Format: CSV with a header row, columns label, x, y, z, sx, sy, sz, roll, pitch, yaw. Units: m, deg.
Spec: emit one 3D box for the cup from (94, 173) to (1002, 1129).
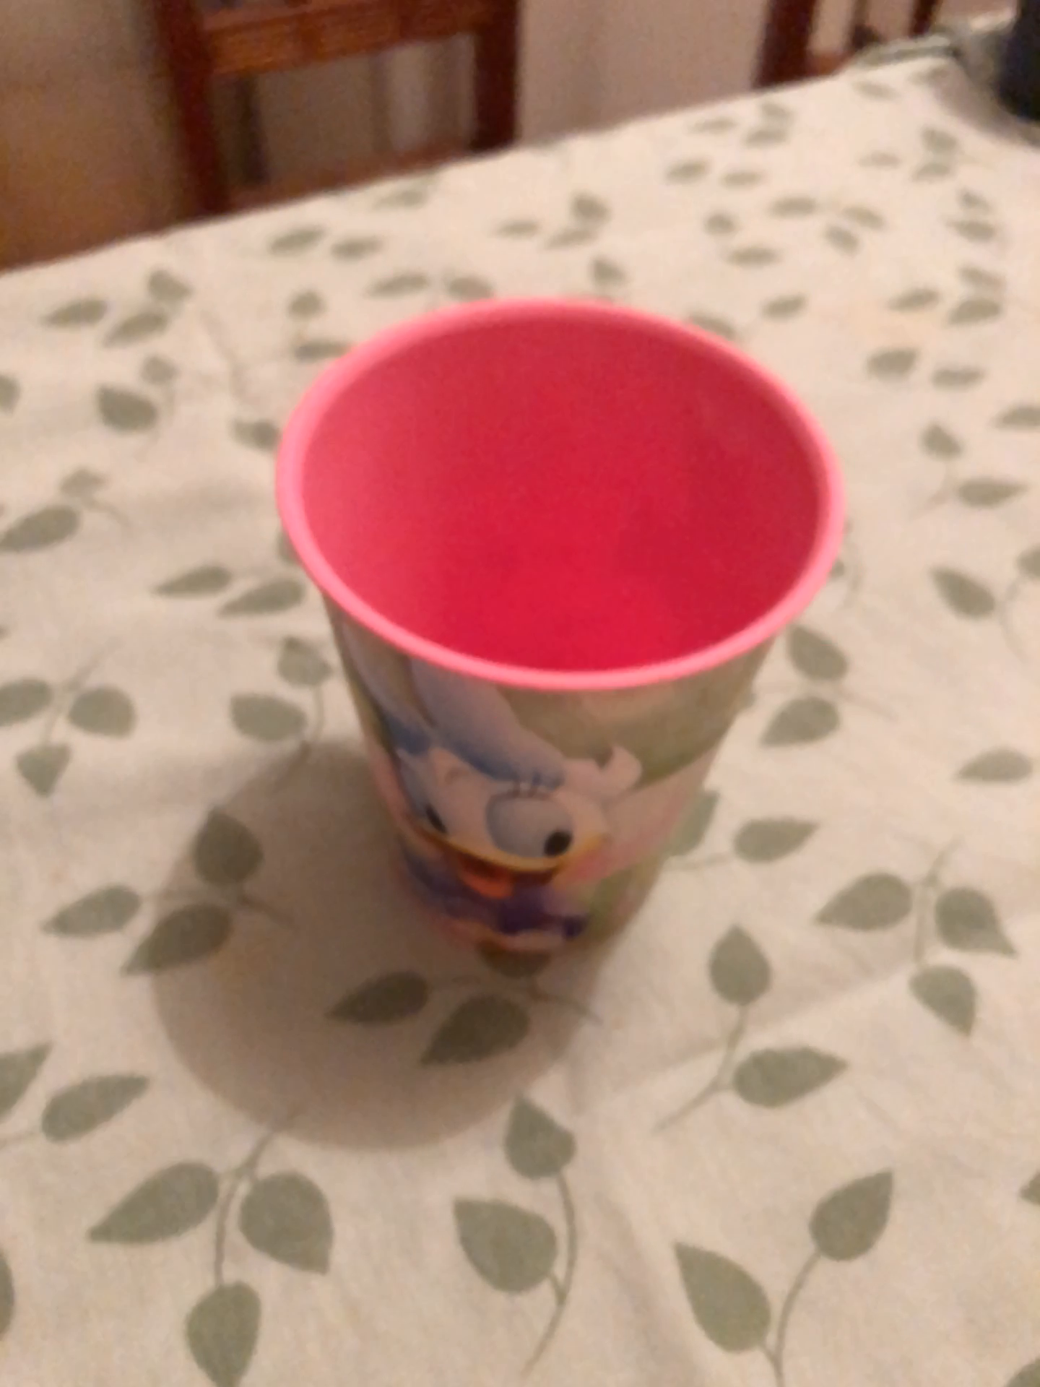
label,x,y,z,sx,sy,sz,roll,pitch,yaw
cup,0.005,-0.006,0.230,0.100,0.119,0.100,1,52,-2
